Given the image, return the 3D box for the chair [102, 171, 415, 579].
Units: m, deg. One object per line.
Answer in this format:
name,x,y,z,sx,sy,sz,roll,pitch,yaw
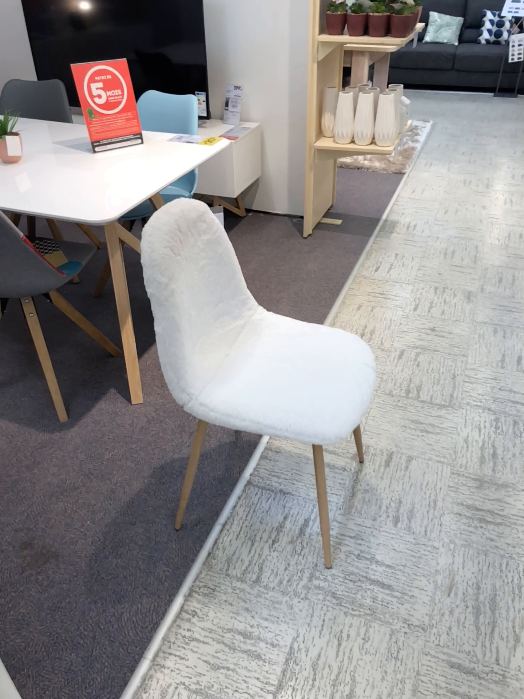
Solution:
chair,0.032,0.048,1.473,0.550,0.815,0.524,10,36,15
